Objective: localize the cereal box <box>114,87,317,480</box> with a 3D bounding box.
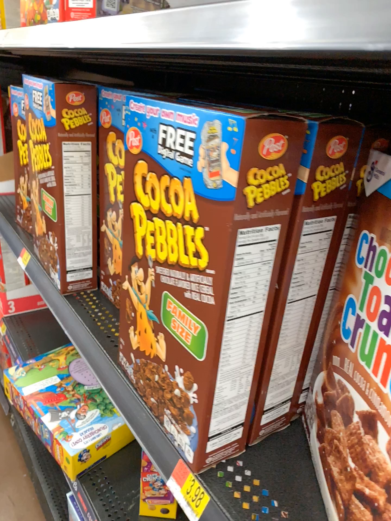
[{"bbox_3d":[-0.011,0.013,0.406,0.060,0.328,0.201,-9,28,-32],"label":"cereal box"}]
